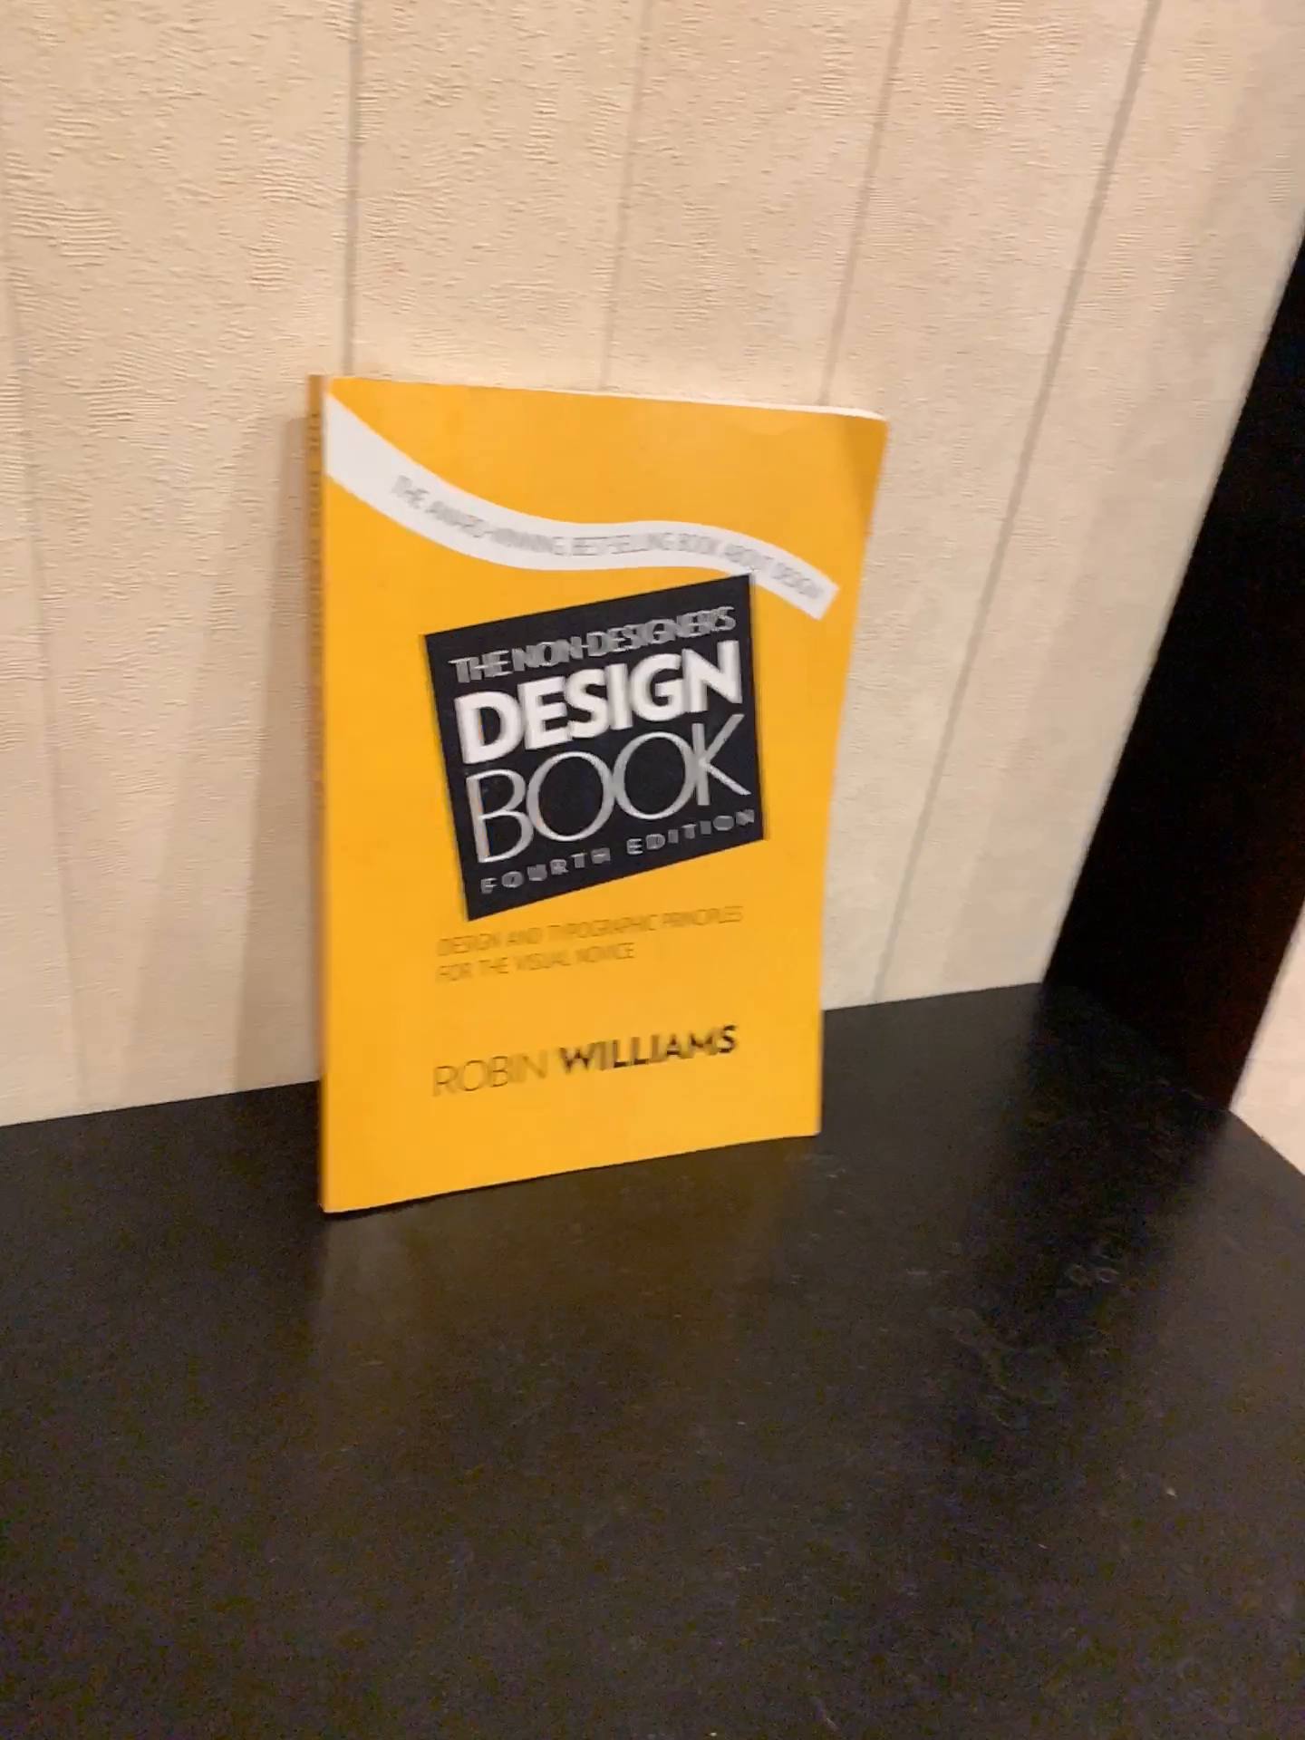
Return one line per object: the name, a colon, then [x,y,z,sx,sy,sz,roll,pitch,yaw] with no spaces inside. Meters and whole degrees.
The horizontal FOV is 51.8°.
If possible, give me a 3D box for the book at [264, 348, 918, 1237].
book: [-0.019,-0.020,0.428,0.190,0.259,0.030,-4,19,-21]
